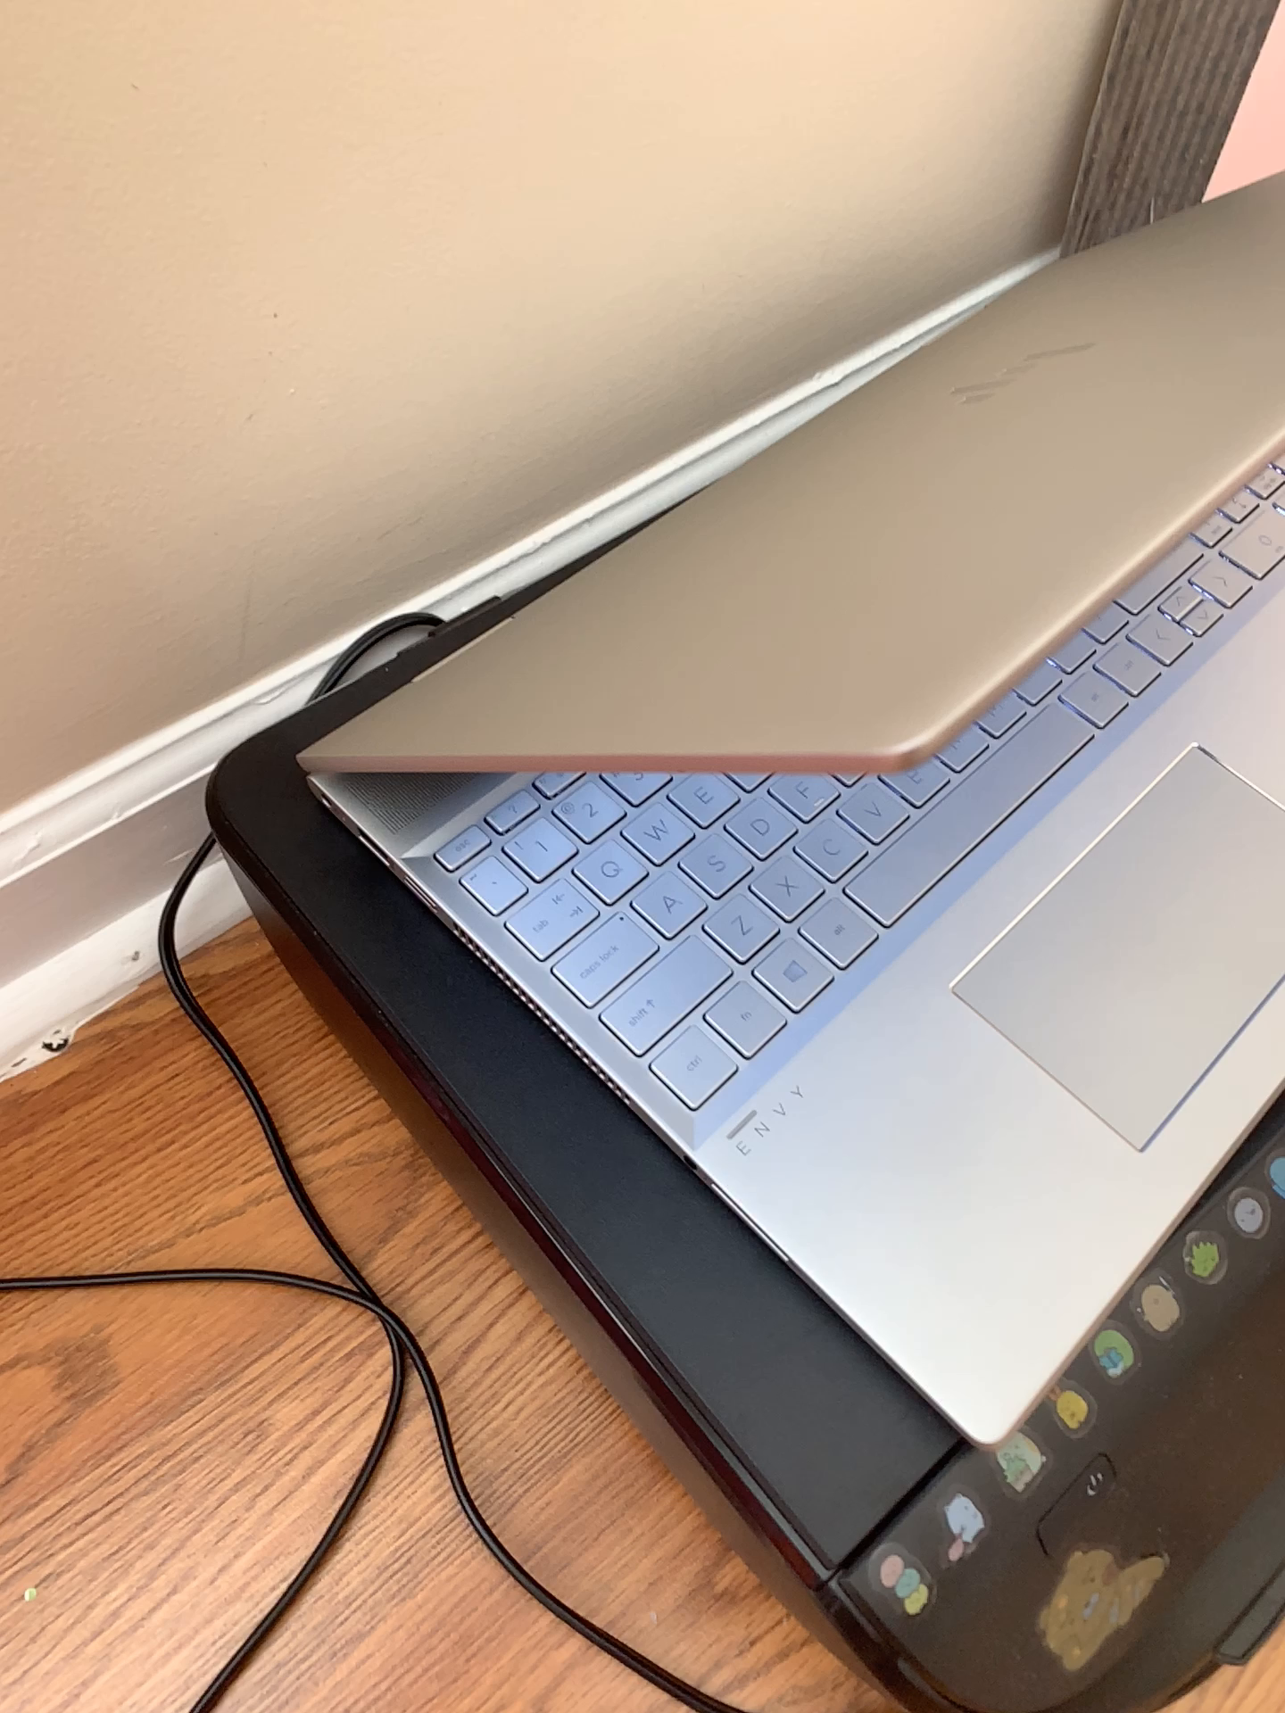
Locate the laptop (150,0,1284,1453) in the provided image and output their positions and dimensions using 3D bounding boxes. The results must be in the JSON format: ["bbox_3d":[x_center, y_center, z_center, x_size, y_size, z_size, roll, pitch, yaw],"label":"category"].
[{"bbox_3d":[0.121,-0.093,0.321,0.351,0.169,0.236,-39,68,-24],"label":"laptop"}]
